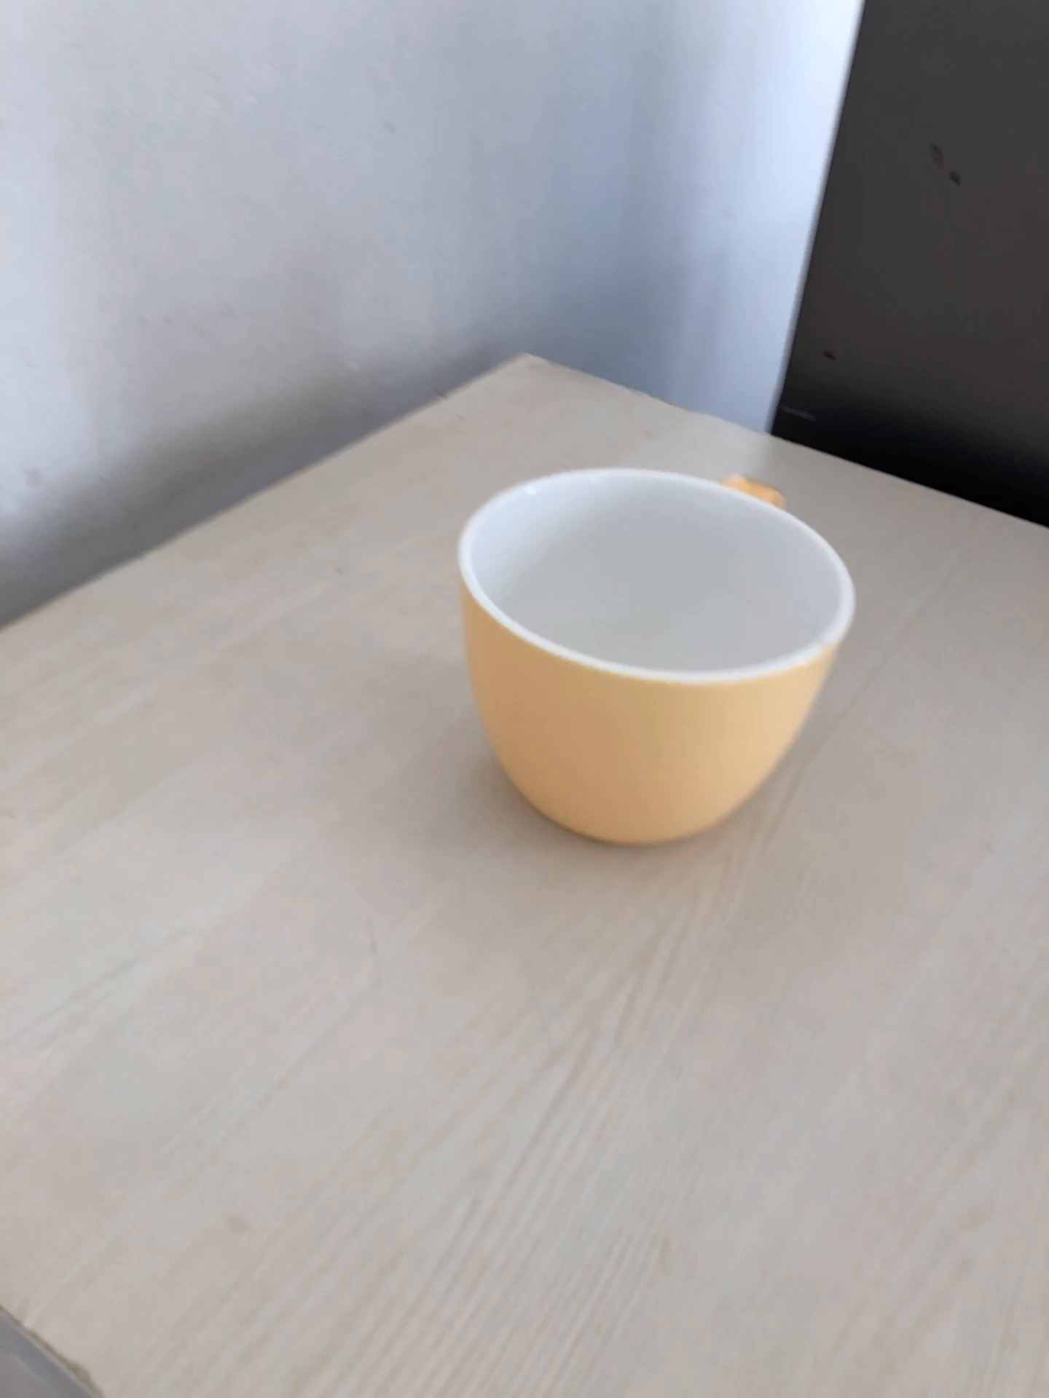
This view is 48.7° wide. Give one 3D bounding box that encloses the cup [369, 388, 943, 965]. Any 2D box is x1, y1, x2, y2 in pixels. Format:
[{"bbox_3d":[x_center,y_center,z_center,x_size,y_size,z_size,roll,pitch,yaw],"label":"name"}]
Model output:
[{"bbox_3d":[0.039,-0.017,0.336,0.100,0.079,0.141,25,42,24],"label":"cup"}]
